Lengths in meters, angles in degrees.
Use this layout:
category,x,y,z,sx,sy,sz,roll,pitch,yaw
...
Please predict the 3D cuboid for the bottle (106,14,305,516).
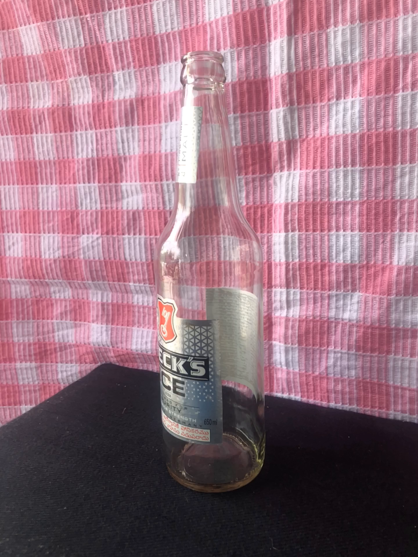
category,x,y,z,sx,sy,sz,roll,pitch,yaw
bottle,-0.003,-0.005,0.299,0.080,0.269,0.090,-10,17,-29
